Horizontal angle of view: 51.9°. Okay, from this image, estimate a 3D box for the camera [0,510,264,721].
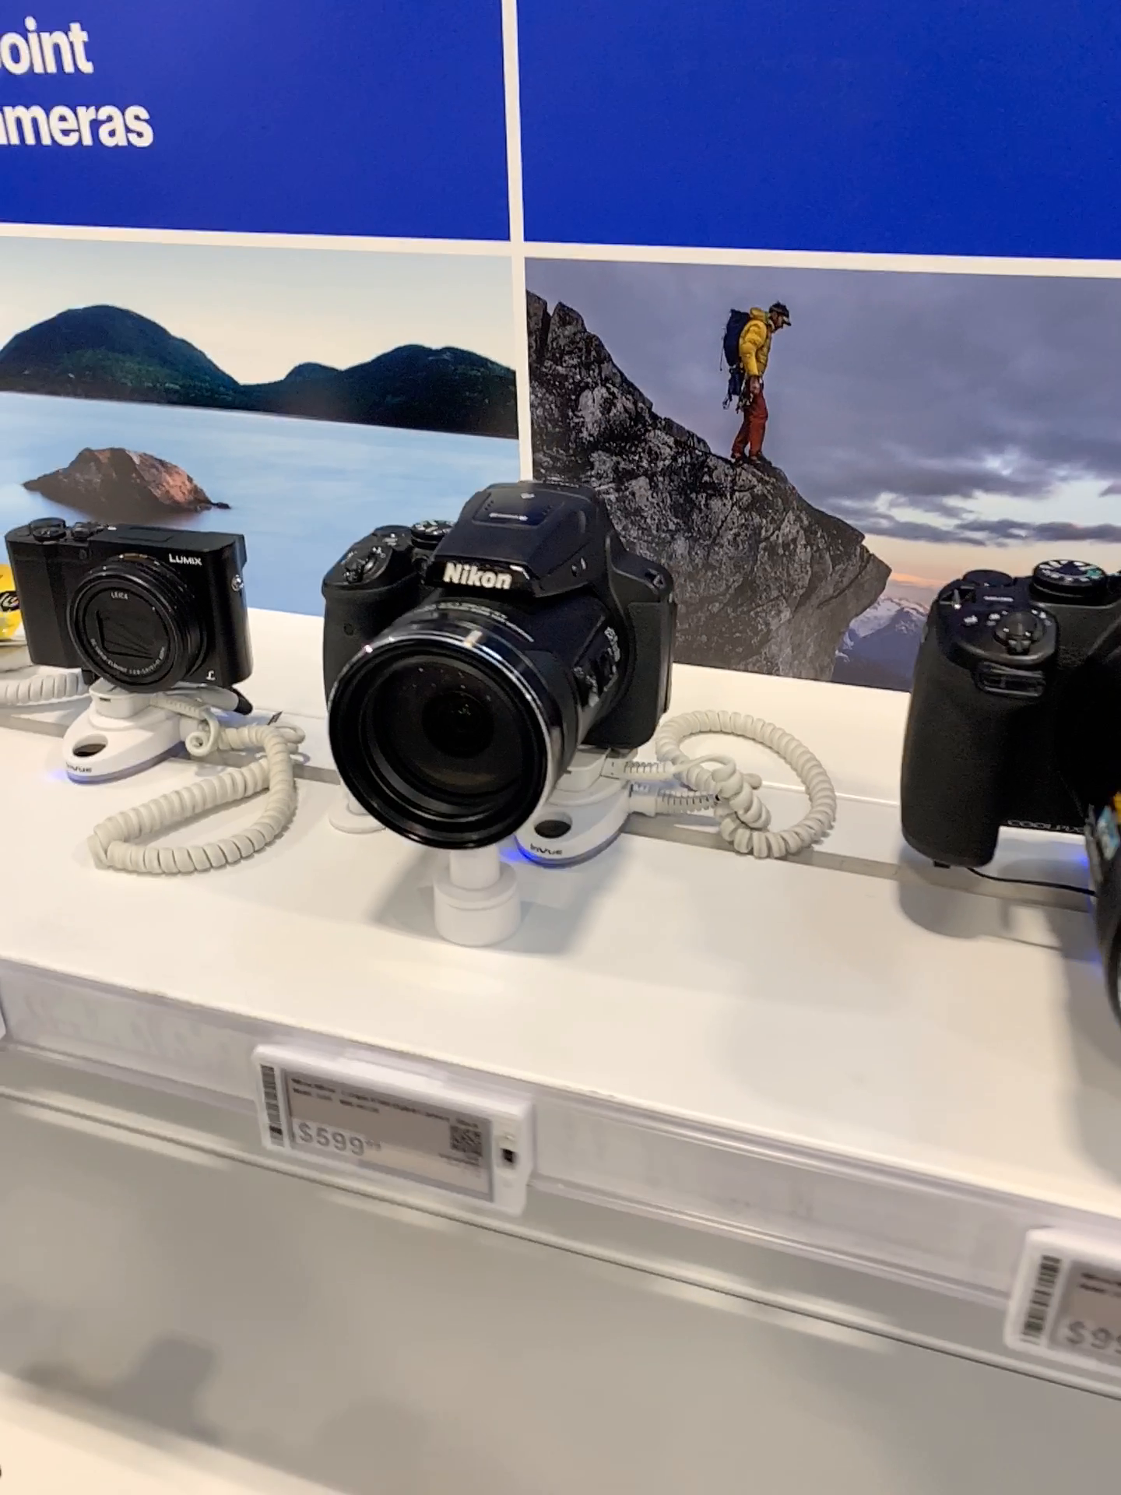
[{"bbox_3d":[-0.197,-0.060,0.511,0.110,0.070,0.050,8,27,15],"label":"camera"}]

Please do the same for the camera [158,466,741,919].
[{"bbox_3d":[-0.028,-0.033,0.427,0.160,0.099,0.151,7,27,15],"label":"camera"}]

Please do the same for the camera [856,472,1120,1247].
[{"bbox_3d":[0.181,0.002,0.342,0.160,0.109,0.221,7,27,14],"label":"camera"}]

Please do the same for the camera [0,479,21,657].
[{"bbox_3d":[-0.343,-0.090,0.568,0.120,0.070,0.050,4,26,8],"label":"camera"}]
